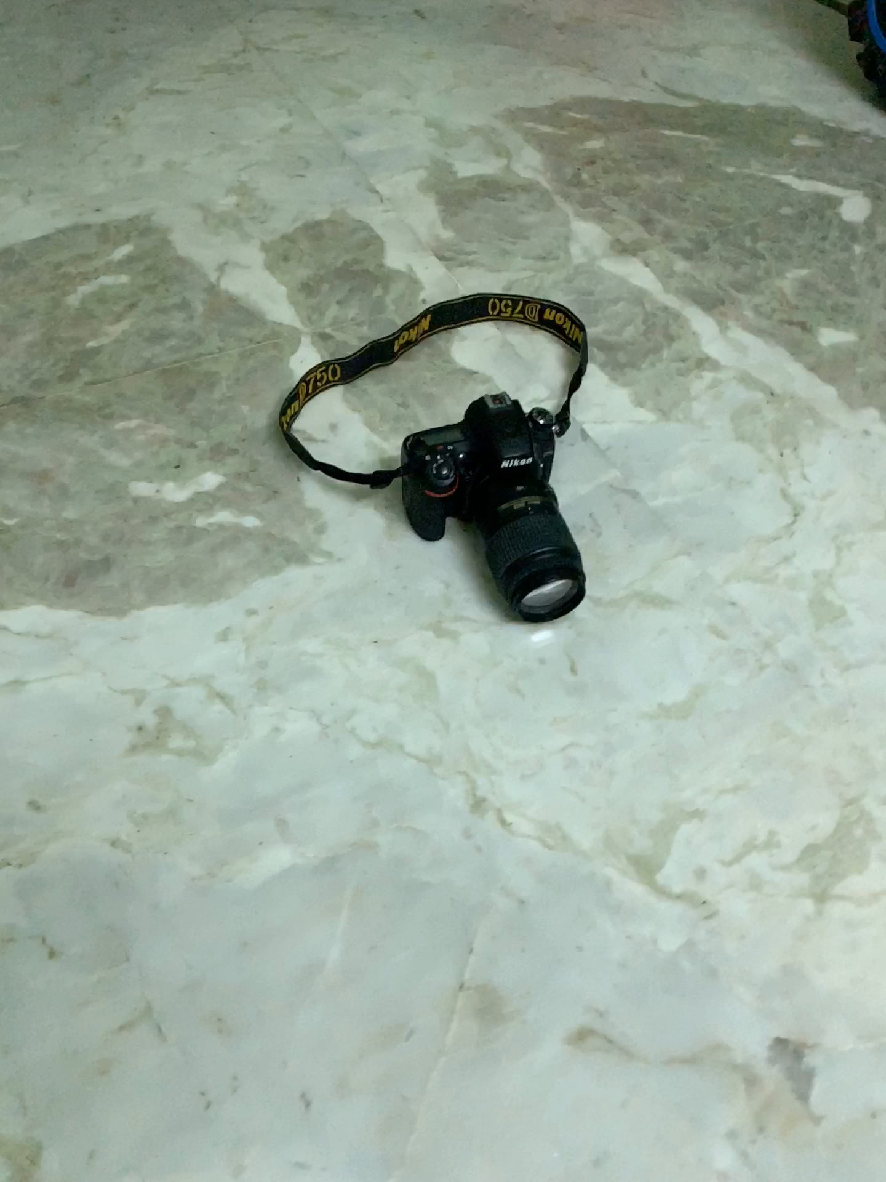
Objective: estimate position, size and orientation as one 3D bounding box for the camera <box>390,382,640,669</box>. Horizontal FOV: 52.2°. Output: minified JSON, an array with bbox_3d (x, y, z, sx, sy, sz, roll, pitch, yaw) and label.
[{"bbox_3d":[0.052,-0.062,0.792,0.150,0.120,0.201,-12,52,-11],"label":"camera"}]
